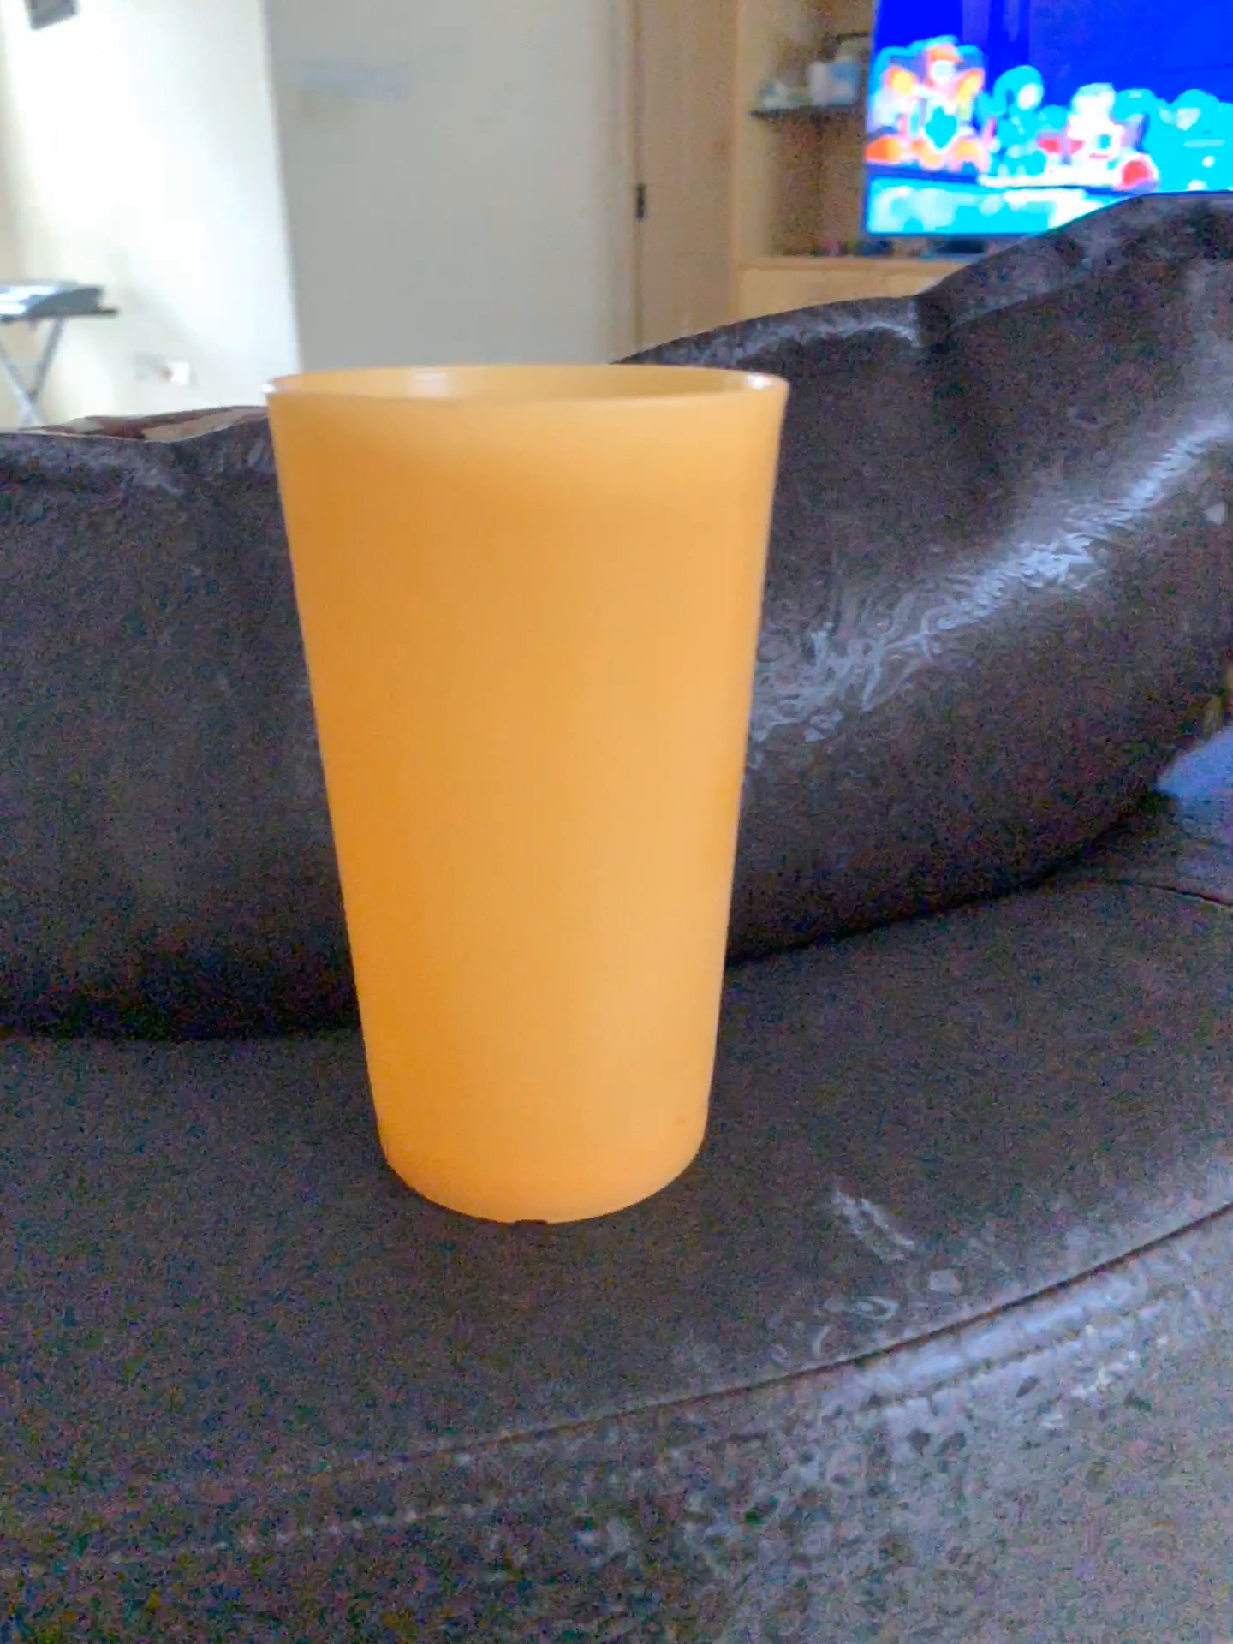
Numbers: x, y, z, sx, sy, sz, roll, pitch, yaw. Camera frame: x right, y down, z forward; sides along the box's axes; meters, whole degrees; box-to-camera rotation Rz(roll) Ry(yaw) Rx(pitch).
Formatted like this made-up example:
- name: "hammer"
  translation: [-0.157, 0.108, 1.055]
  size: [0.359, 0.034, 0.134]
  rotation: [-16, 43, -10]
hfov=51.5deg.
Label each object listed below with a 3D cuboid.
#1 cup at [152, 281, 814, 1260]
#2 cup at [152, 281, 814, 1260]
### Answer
- name: "cup"
  translation: [-0.011, -0.013, 0.199]
  size: [0.070, 0.129, 0.070]
  rotation: [-1, 24, 0]
- name: "cup"
  translation: [-0.011, -0.013, 0.199]
  size: [0.070, 0.129, 0.070]
  rotation: [-1, 24, 0]
